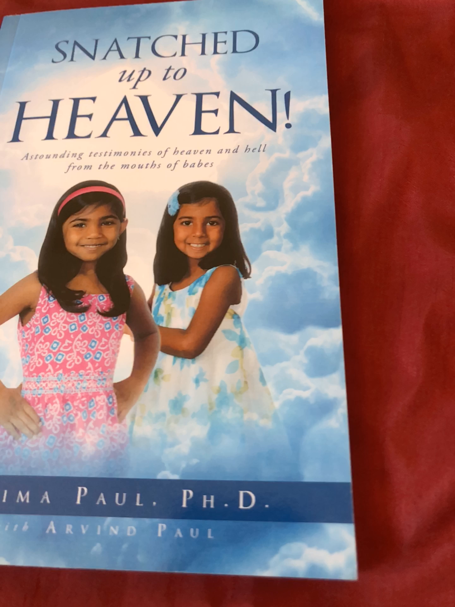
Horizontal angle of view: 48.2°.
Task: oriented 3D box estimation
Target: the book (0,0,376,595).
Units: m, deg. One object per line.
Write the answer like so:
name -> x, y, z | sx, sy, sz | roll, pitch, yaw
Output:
book -> -0.028, -0.023, 0.181 | 0.140, 0.020, 0.212 | -1, 69, 7
